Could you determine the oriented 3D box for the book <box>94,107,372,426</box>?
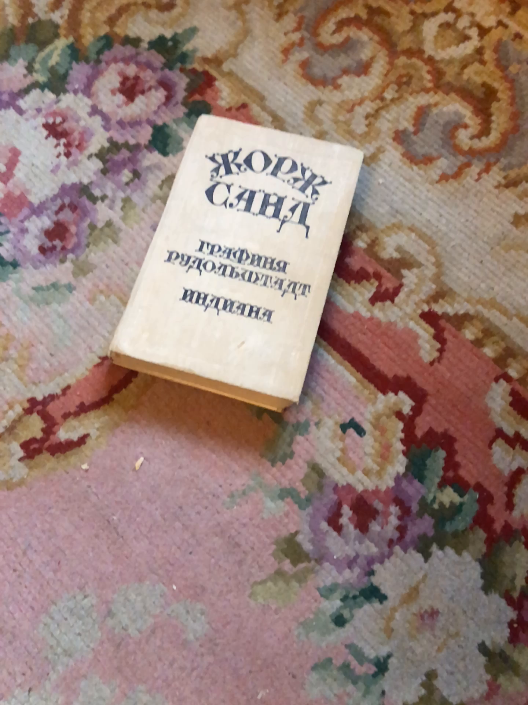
[{"bbox_3d":[-0.017,-0.073,0.463,0.150,0.057,0.220,15,71,6],"label":"book"}]
